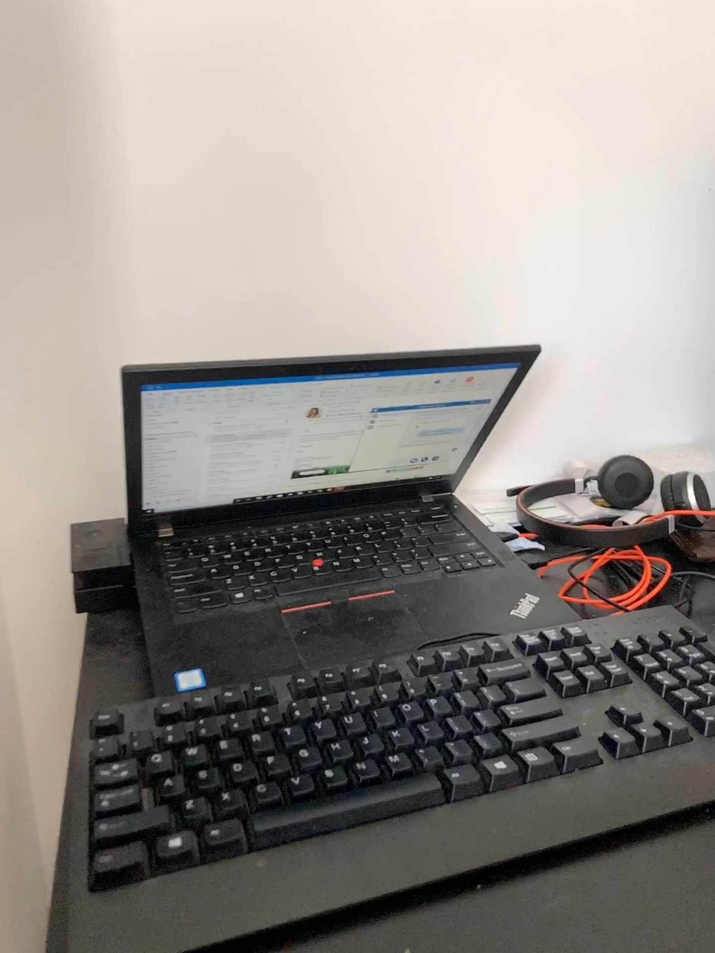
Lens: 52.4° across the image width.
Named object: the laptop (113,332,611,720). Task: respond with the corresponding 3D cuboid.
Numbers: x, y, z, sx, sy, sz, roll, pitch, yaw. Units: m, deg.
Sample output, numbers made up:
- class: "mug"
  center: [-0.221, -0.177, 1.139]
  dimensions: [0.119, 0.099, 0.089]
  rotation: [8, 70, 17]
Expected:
- class: "laptop"
  center: [-0.010, 0.004, 0.598]
  dimensions: [0.335, 0.172, 0.237]
  rotation: [-7, 24, -21]
